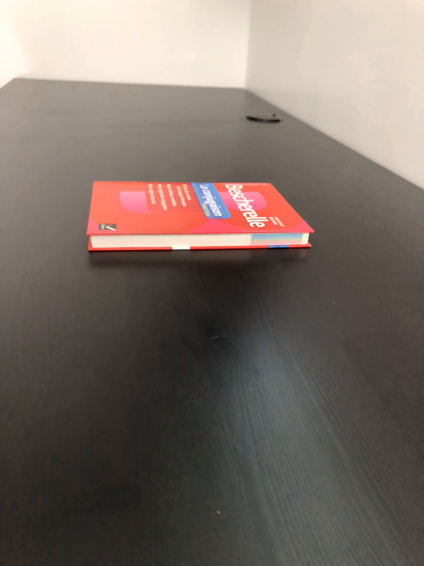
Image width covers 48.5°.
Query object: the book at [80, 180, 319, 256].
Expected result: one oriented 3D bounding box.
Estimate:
[{"bbox_3d":[-0.018,-0.070,0.466,0.203,0.020,0.151,-1,29,-10],"label":"book"}]
